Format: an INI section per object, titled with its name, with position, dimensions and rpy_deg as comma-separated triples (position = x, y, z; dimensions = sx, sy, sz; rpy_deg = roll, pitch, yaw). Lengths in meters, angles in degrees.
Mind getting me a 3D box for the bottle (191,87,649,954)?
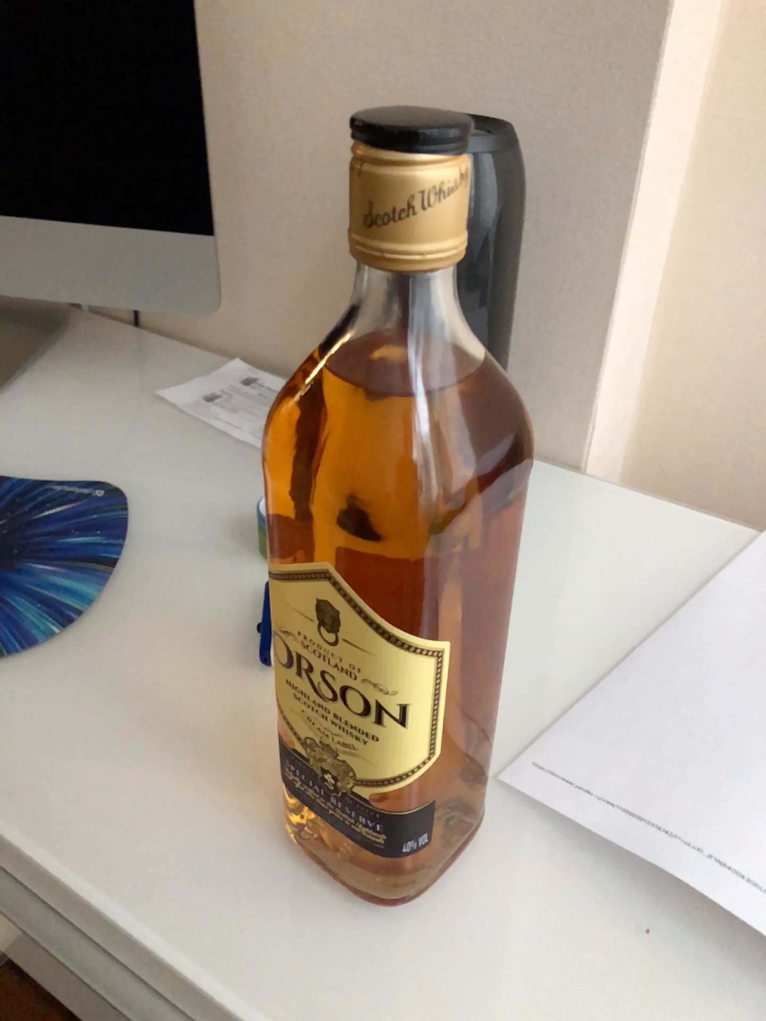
[bottle]
position = 0.004, 0.017, 0.267
dimensions = 0.080, 0.258, 0.070
rpy_deg = 28, 41, 33
